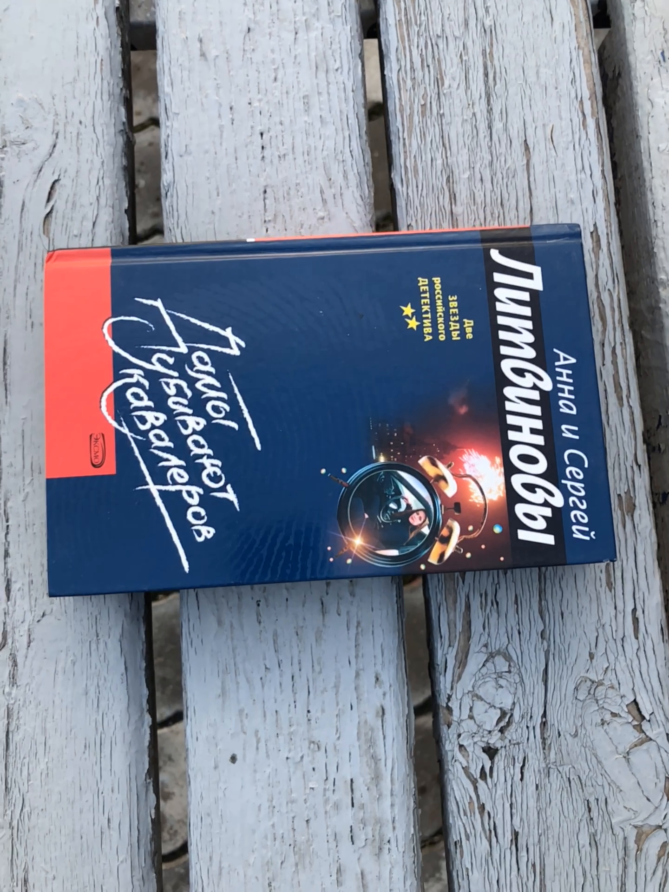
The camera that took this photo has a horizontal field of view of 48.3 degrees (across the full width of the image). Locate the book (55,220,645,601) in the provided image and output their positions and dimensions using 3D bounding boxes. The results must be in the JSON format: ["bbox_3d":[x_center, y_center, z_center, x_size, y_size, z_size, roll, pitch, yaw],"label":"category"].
[{"bbox_3d":[0.003,-0.014,0.286,0.207,0.030,0.130,-3,83,-2],"label":"book"}]
